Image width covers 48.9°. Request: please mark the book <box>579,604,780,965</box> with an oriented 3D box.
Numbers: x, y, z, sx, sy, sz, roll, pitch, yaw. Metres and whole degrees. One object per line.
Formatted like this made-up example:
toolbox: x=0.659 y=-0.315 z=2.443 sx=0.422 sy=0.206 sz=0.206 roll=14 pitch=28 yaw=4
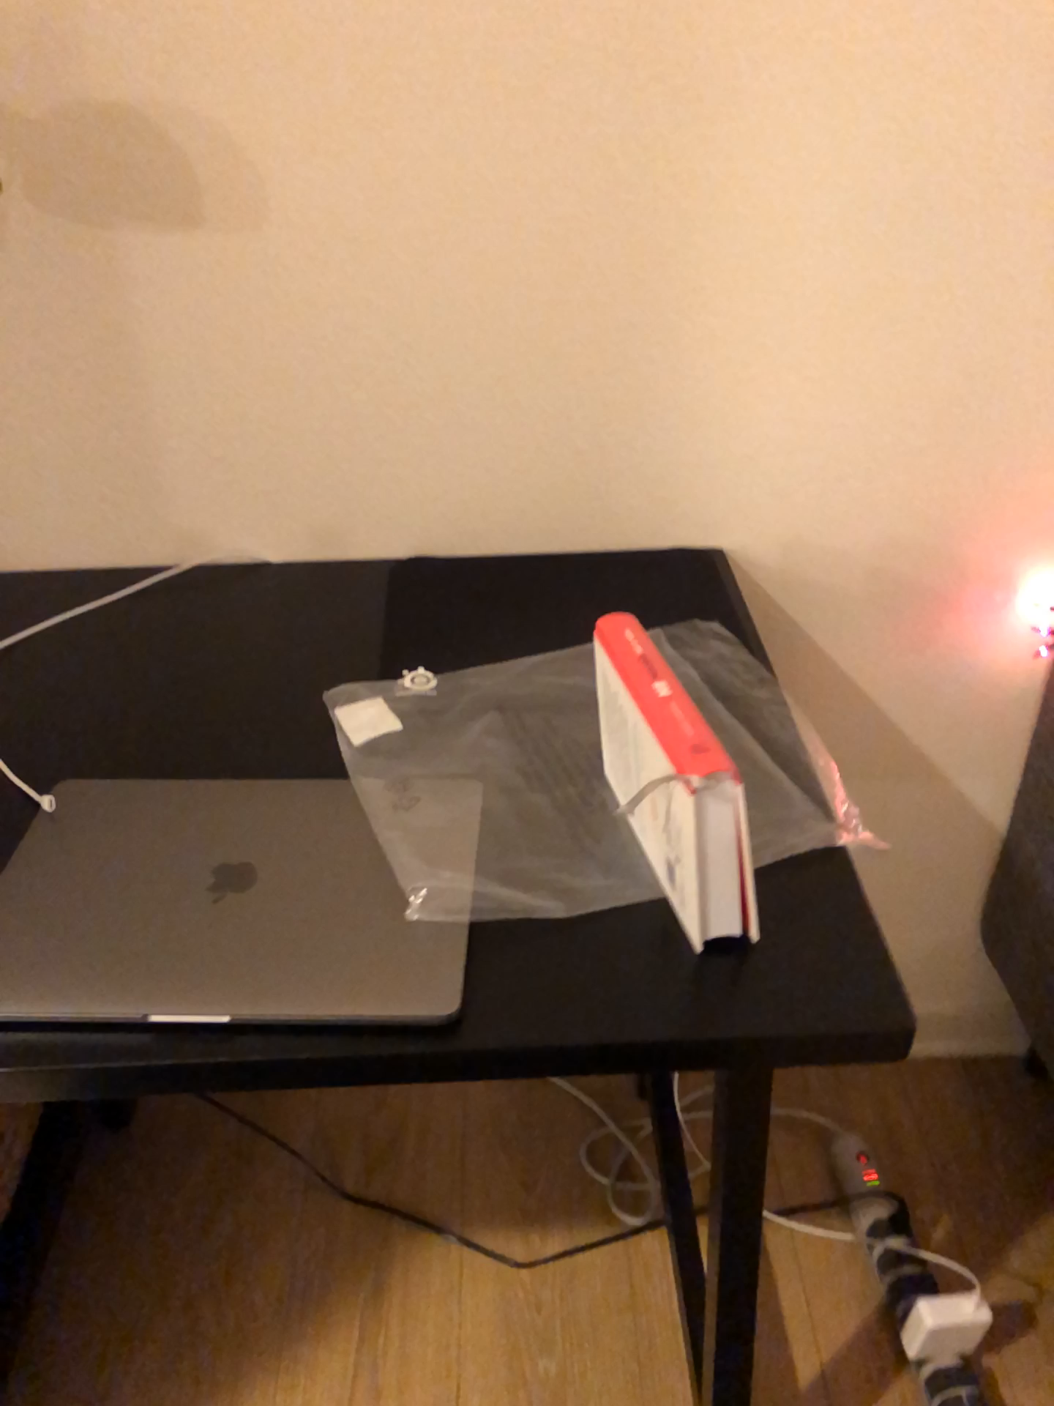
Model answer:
book: x=0.087 y=0.044 z=0.738 sx=0.050 sy=0.129 sz=0.201 roll=-7 pitch=34 yaw=-12
